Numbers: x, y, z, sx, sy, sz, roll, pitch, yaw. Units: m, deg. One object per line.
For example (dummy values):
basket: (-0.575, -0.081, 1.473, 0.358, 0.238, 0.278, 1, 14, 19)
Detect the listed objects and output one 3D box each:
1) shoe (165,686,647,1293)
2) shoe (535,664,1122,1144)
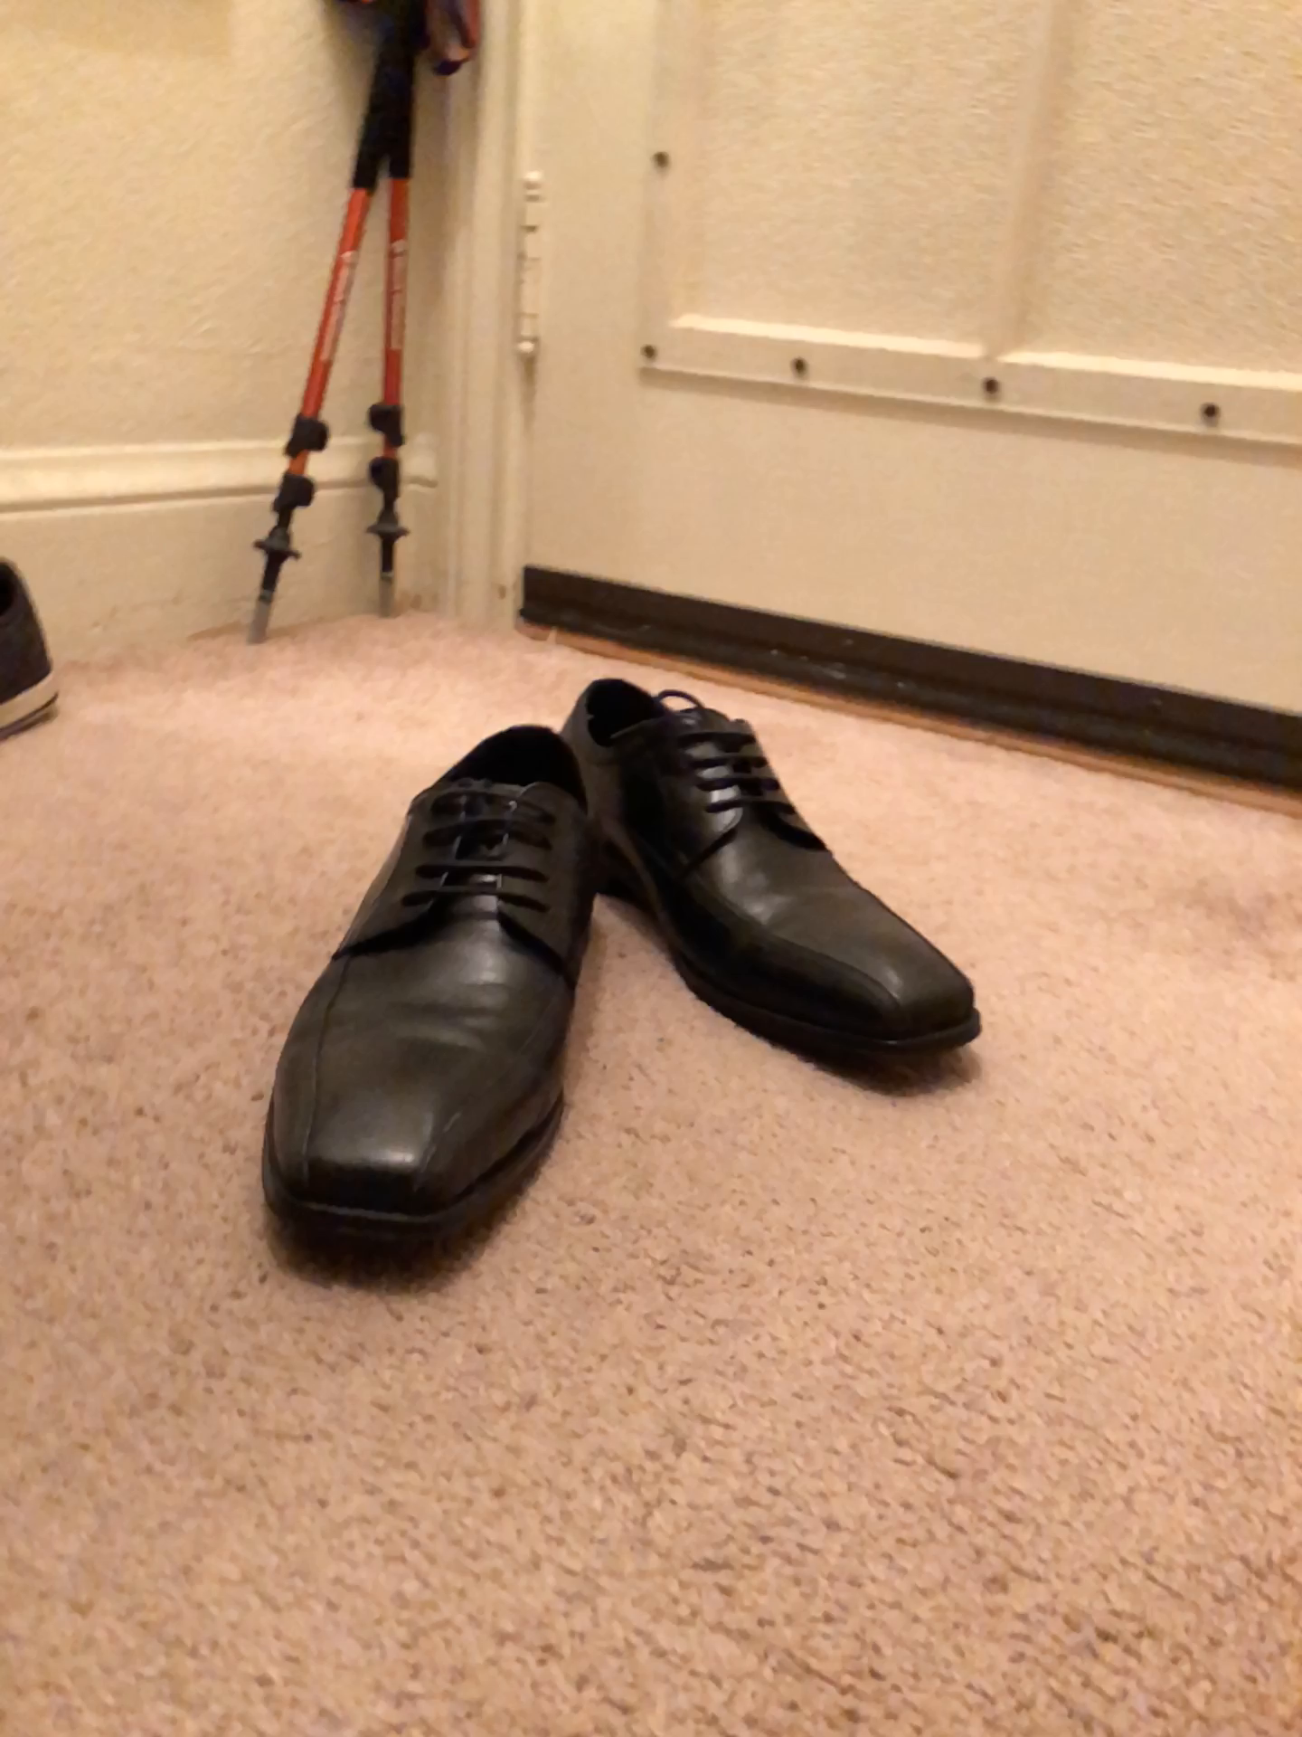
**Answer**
shoe: (-0.074, 0.022, 0.555, 0.110, 0.107, 0.284, 6, 22, 3)
shoe: (0.062, -0.004, 0.685, 0.115, 0.110, 0.297, -7, 25, -29)
